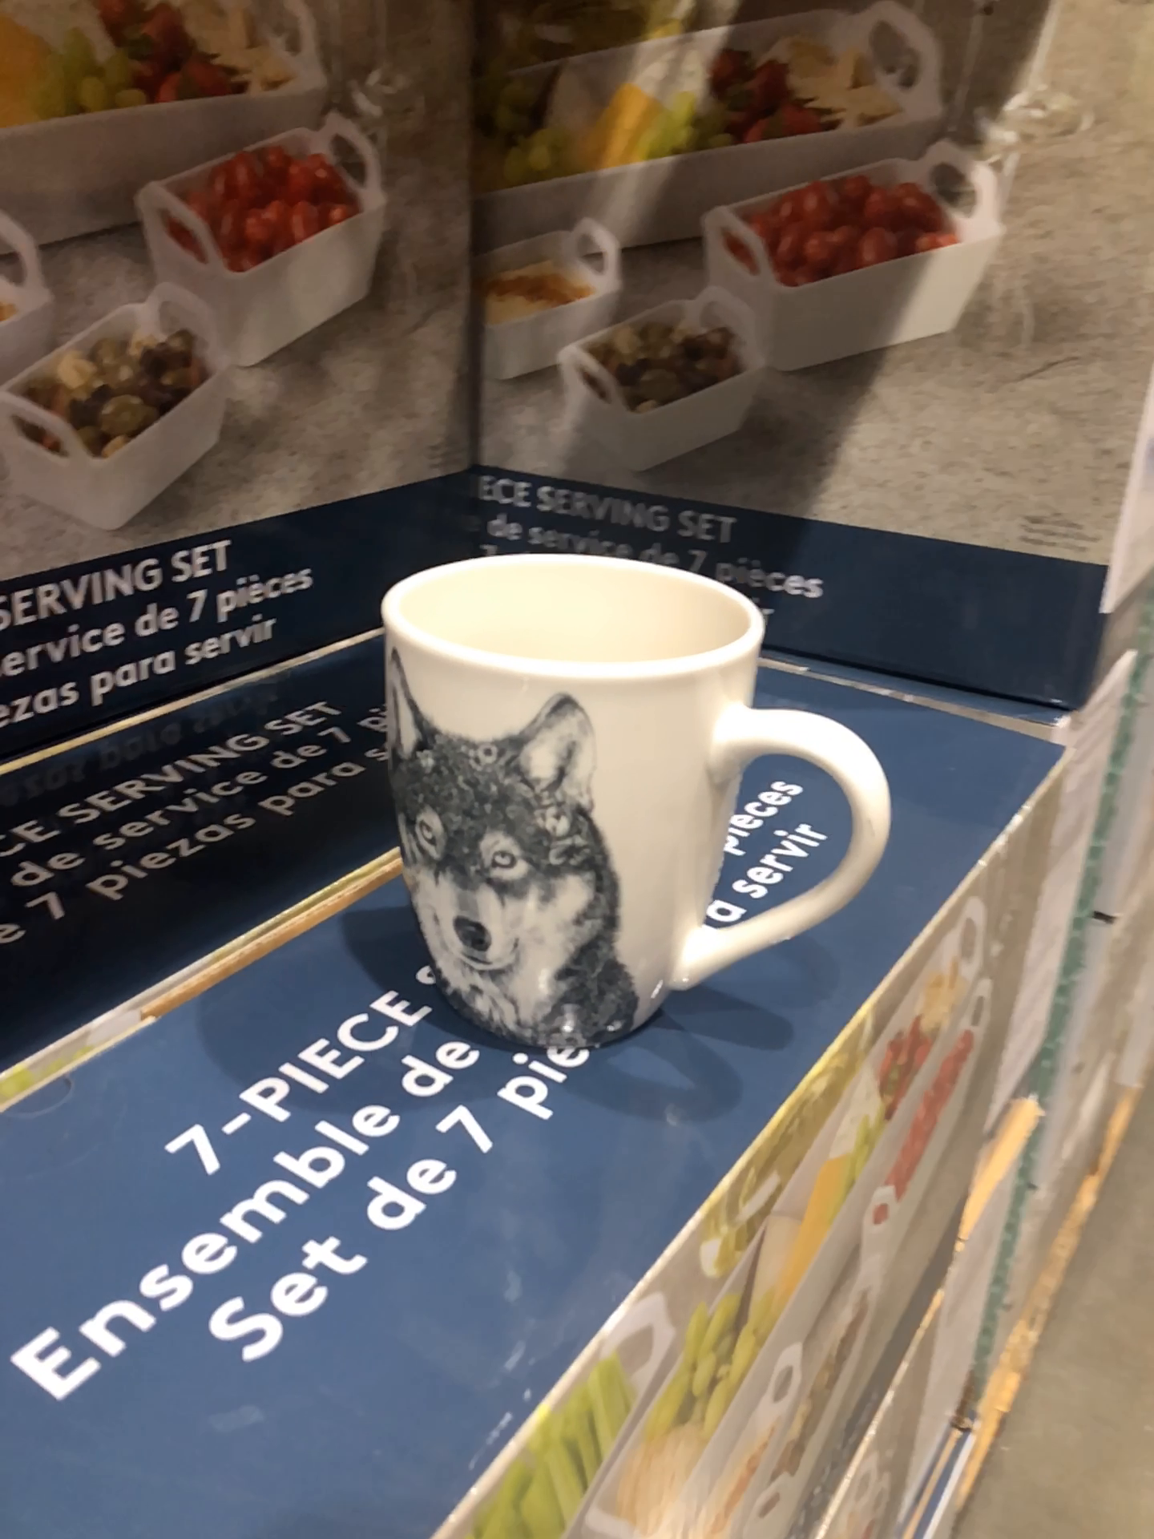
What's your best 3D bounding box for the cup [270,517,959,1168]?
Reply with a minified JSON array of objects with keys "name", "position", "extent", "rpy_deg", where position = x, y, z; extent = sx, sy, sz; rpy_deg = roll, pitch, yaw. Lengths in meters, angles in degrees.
[{"name":"cup","position":[0.010,0.006,0.310],"extent":[0.128,0.102,0.093],"rpy_deg":[14,27,27]}]
